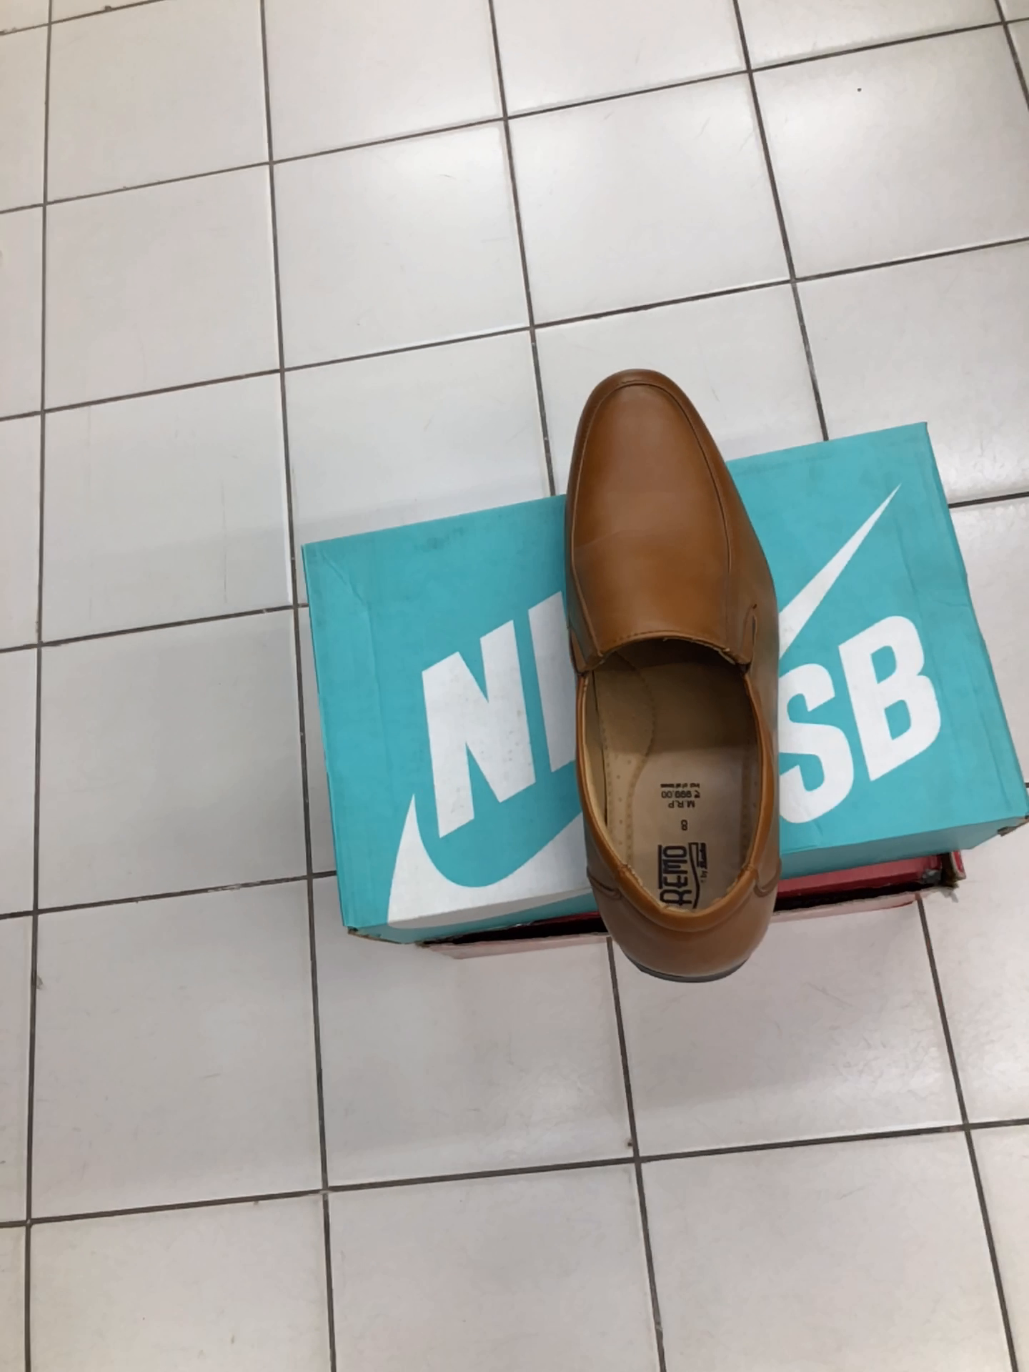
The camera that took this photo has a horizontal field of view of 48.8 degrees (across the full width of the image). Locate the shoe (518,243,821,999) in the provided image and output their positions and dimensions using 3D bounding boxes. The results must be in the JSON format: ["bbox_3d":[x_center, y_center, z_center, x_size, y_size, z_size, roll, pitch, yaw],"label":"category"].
[{"bbox_3d":[0.062,-0.026,0.500,0.090,0.100,0.311,-6,73,7],"label":"shoe"}]
